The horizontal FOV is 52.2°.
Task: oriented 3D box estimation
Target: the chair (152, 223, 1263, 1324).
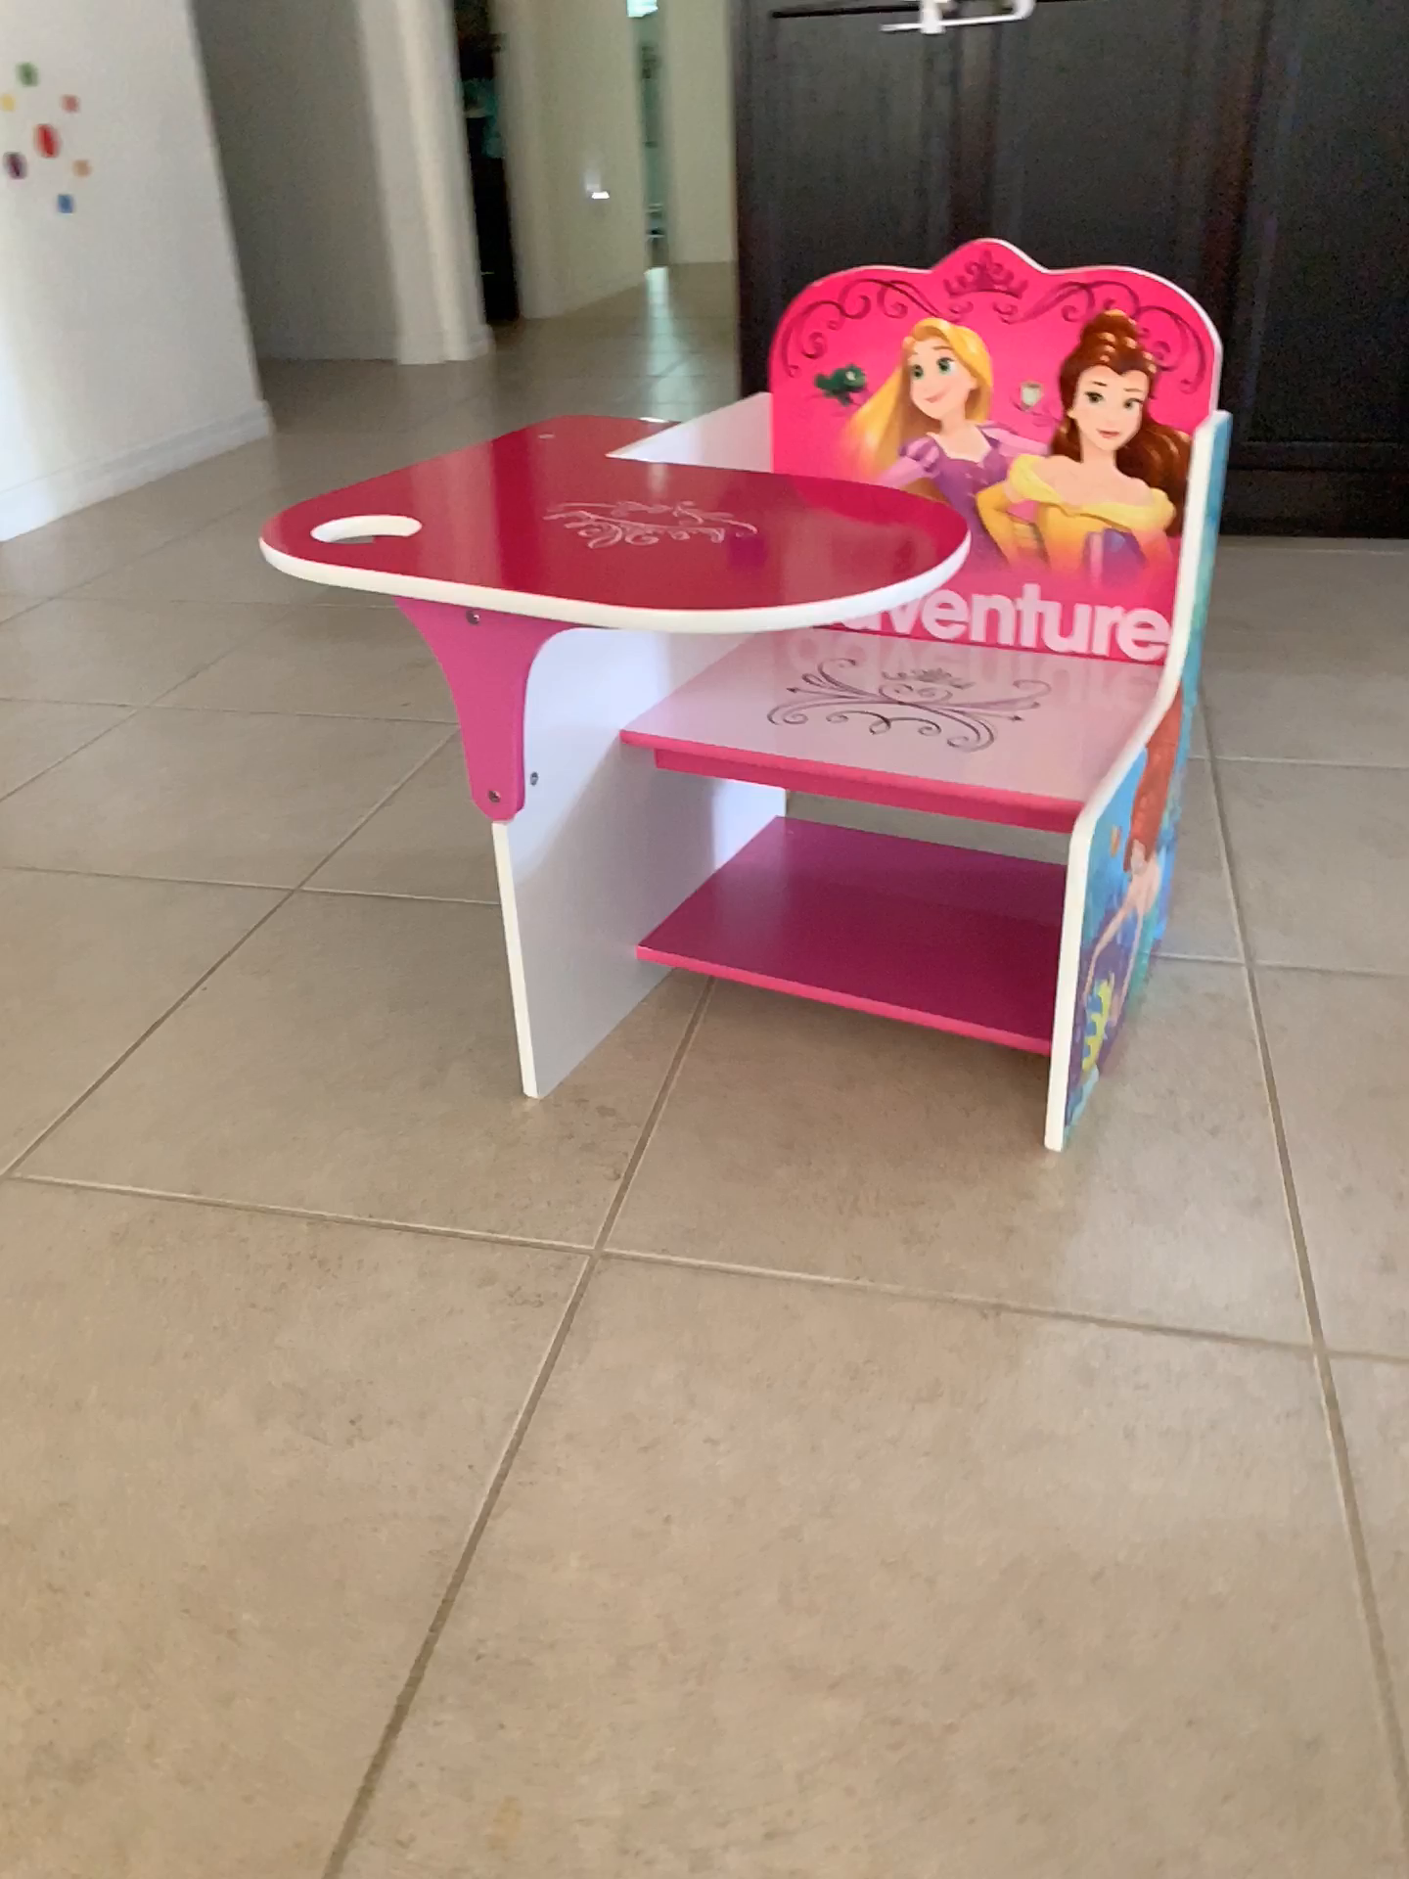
[{"bbox_3d":[0.056,-0.190,1.052,0.532,0.566,0.553,11,31,23],"label":"chair"}]
